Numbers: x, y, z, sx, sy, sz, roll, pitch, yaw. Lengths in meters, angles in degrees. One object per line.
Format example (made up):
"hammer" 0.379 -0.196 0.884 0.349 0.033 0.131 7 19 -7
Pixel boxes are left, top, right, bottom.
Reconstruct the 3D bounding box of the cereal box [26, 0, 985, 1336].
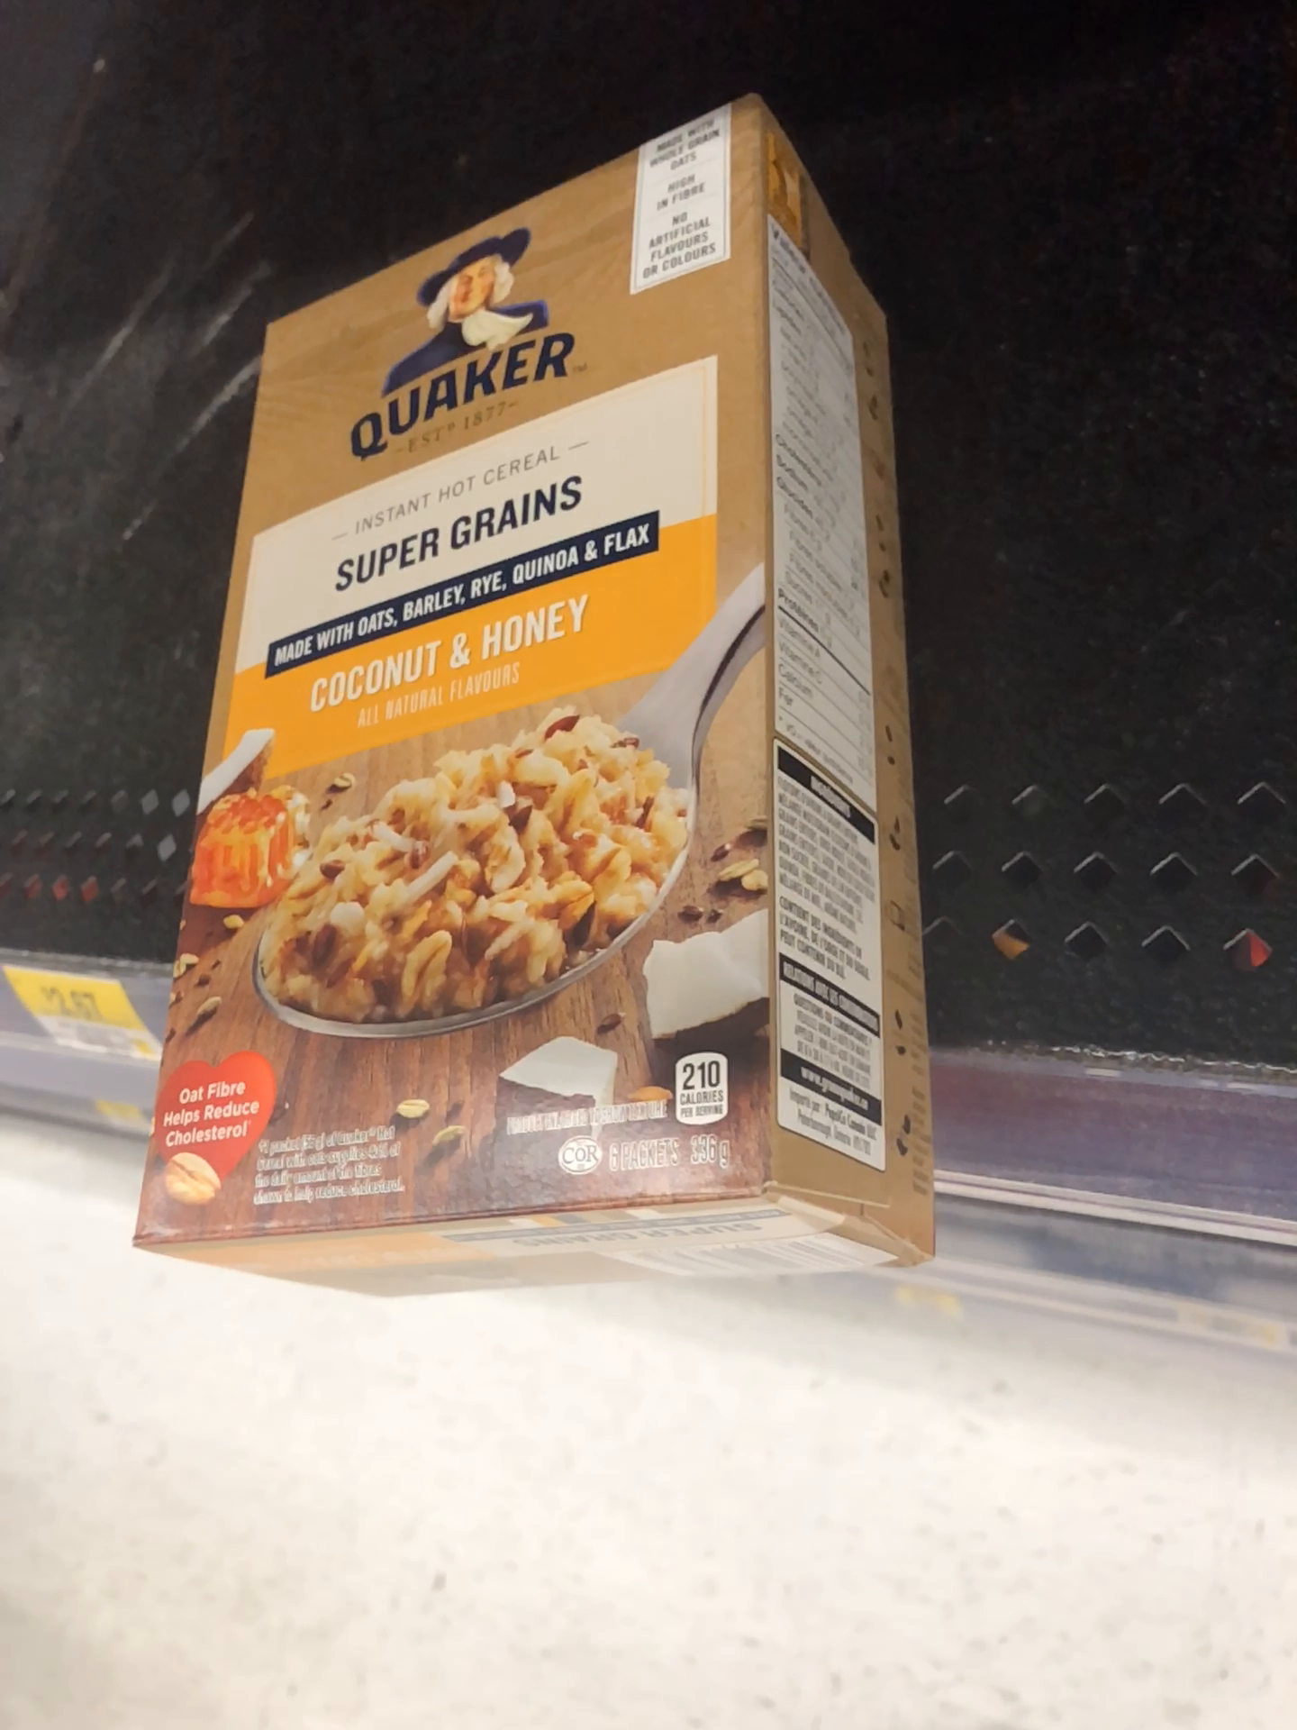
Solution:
"cereal box" -0.023 -0.038 0.276 0.140 0.060 0.230 -13 61 28
